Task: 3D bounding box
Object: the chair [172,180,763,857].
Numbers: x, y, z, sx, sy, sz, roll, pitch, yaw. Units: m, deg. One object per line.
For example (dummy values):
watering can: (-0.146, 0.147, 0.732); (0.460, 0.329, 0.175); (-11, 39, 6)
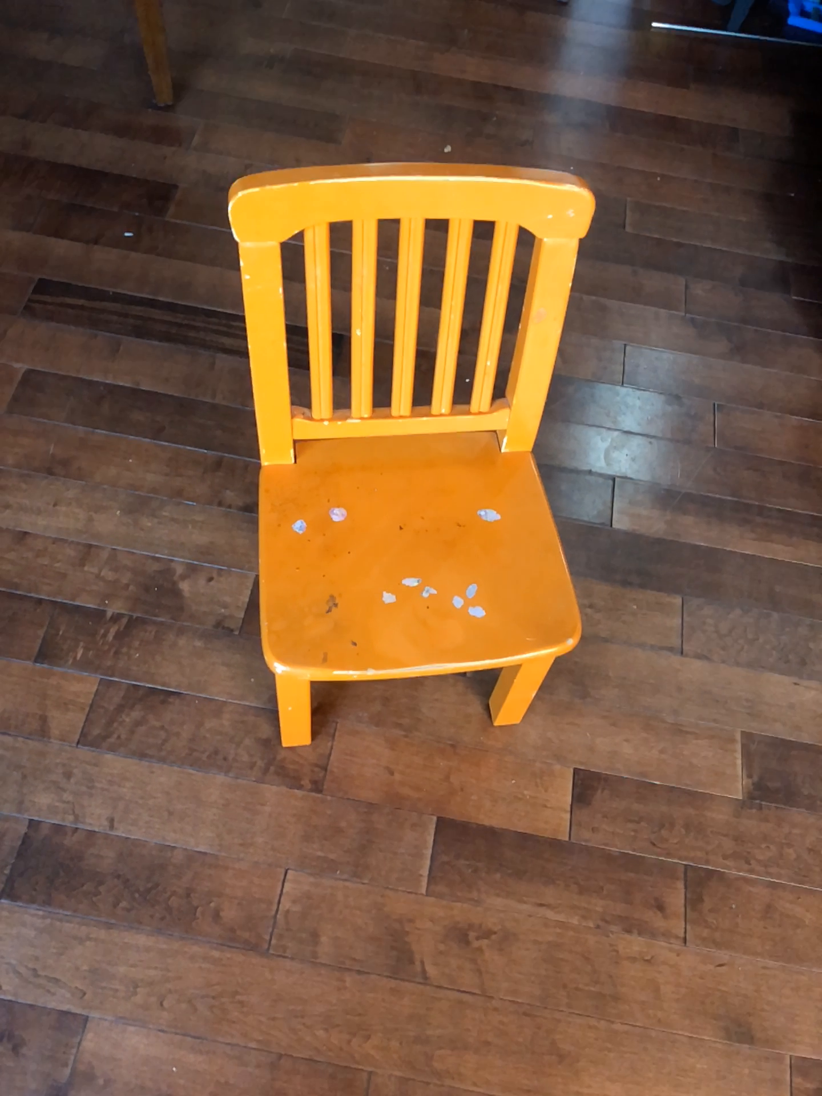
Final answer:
chair: (0.010, 0.015, 0.885); (0.360, 0.569, 0.351); (-8, 56, -7)
